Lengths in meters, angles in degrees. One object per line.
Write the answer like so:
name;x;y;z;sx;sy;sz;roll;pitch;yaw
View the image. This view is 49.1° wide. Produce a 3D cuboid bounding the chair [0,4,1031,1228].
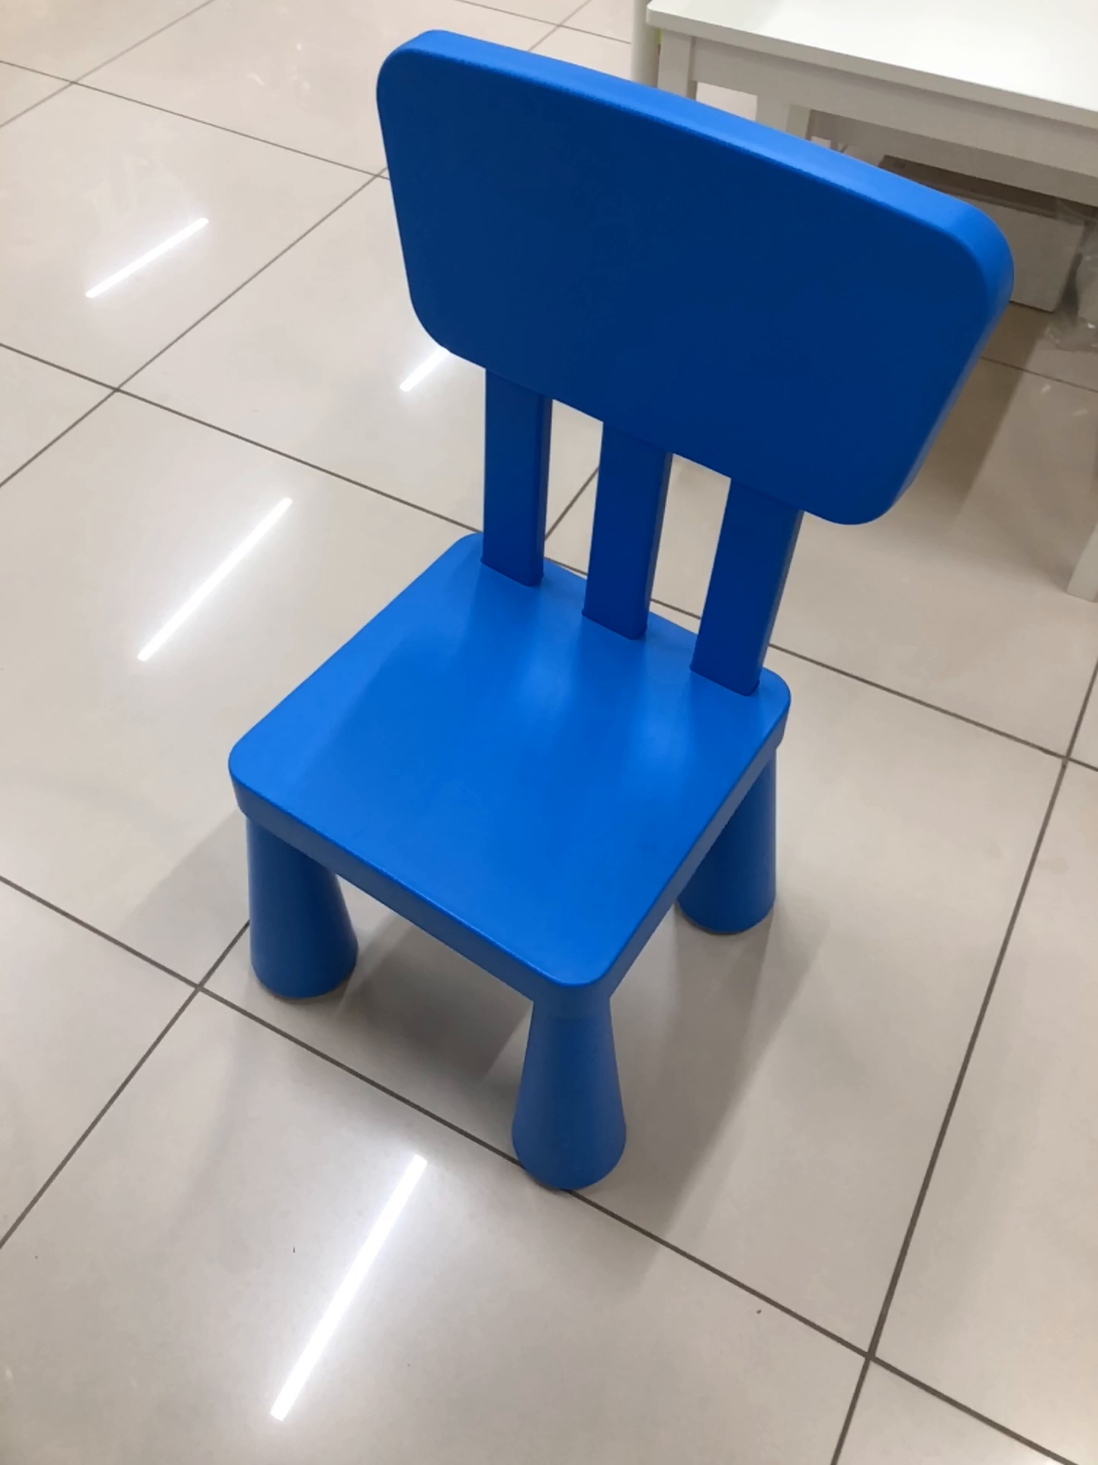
chair;-0.021;-0.021;0.806;0.356;0.666;0.356;29;58;20
